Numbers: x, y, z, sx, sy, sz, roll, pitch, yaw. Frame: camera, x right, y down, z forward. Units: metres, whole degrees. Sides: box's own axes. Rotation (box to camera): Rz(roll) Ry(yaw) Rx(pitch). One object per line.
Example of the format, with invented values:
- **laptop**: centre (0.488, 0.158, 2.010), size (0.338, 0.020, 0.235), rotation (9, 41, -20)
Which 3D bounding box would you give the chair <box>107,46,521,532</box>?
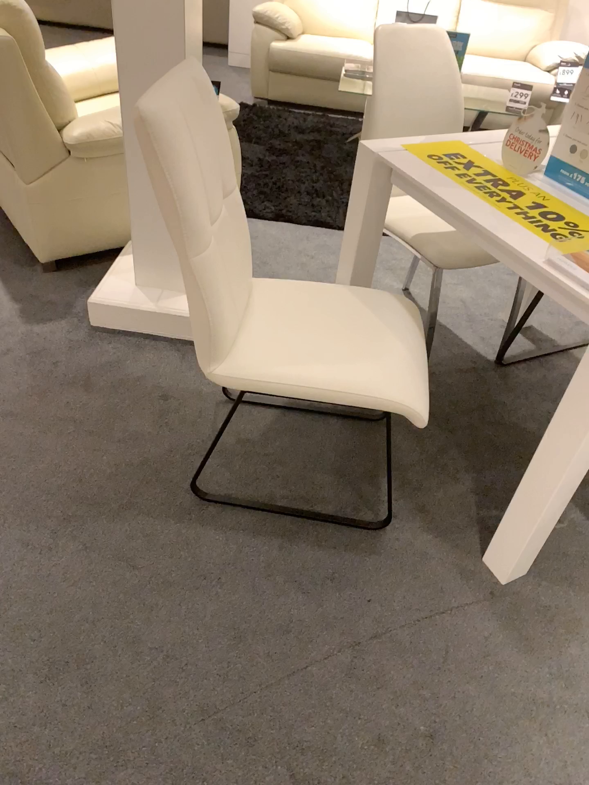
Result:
- **chair**: centre (0.007, -0.208, 1.399), size (0.630, 0.891, 0.546), rotation (8, 40, 0)
